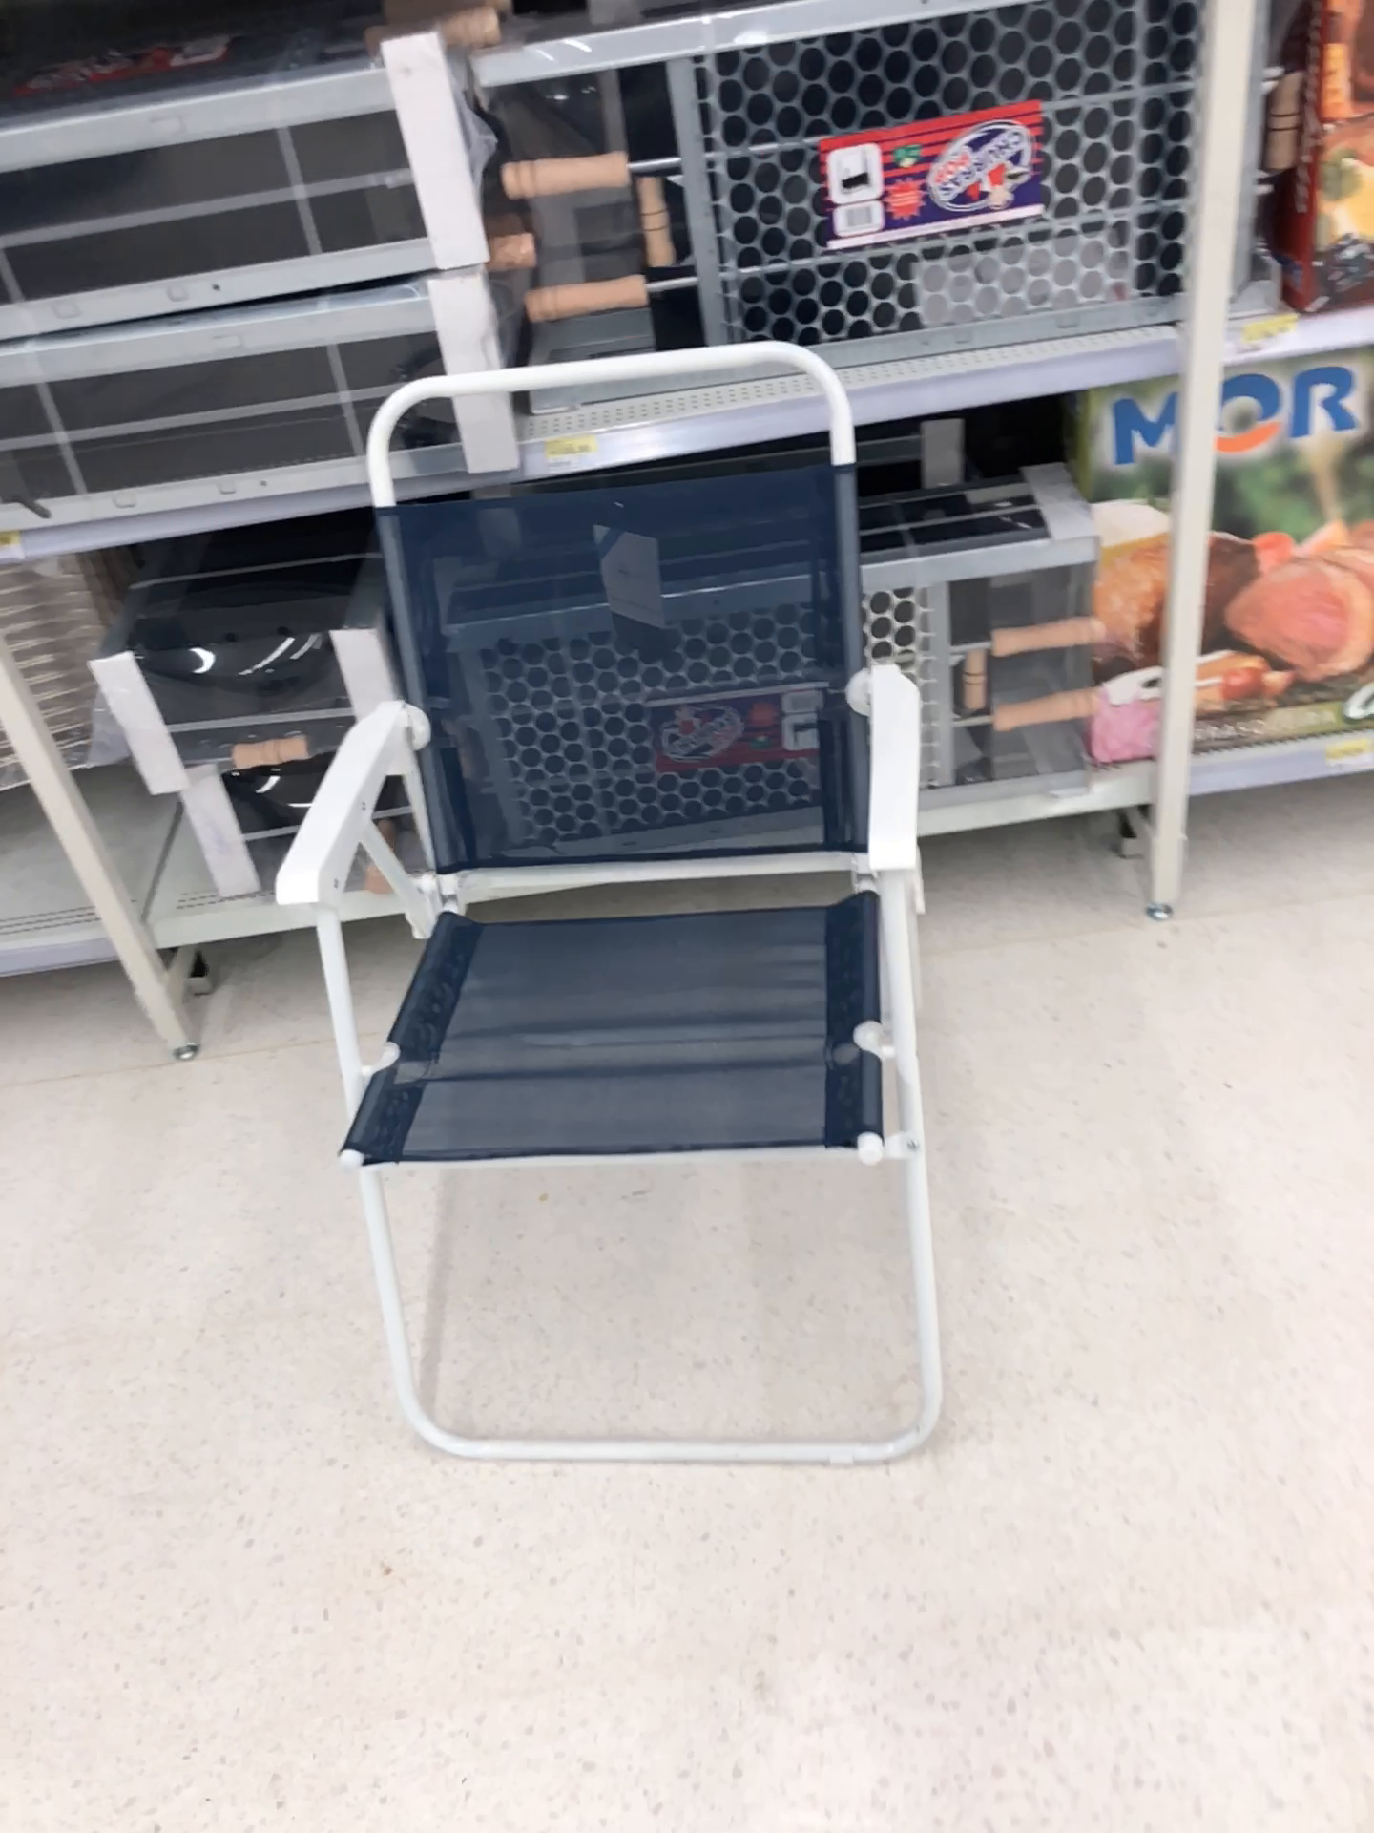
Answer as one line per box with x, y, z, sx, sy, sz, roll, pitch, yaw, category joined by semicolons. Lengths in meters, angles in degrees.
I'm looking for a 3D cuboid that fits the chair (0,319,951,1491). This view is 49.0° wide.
-0.072;0.000;1.307;0.540;0.735;0.655;-3;41;9;chair
